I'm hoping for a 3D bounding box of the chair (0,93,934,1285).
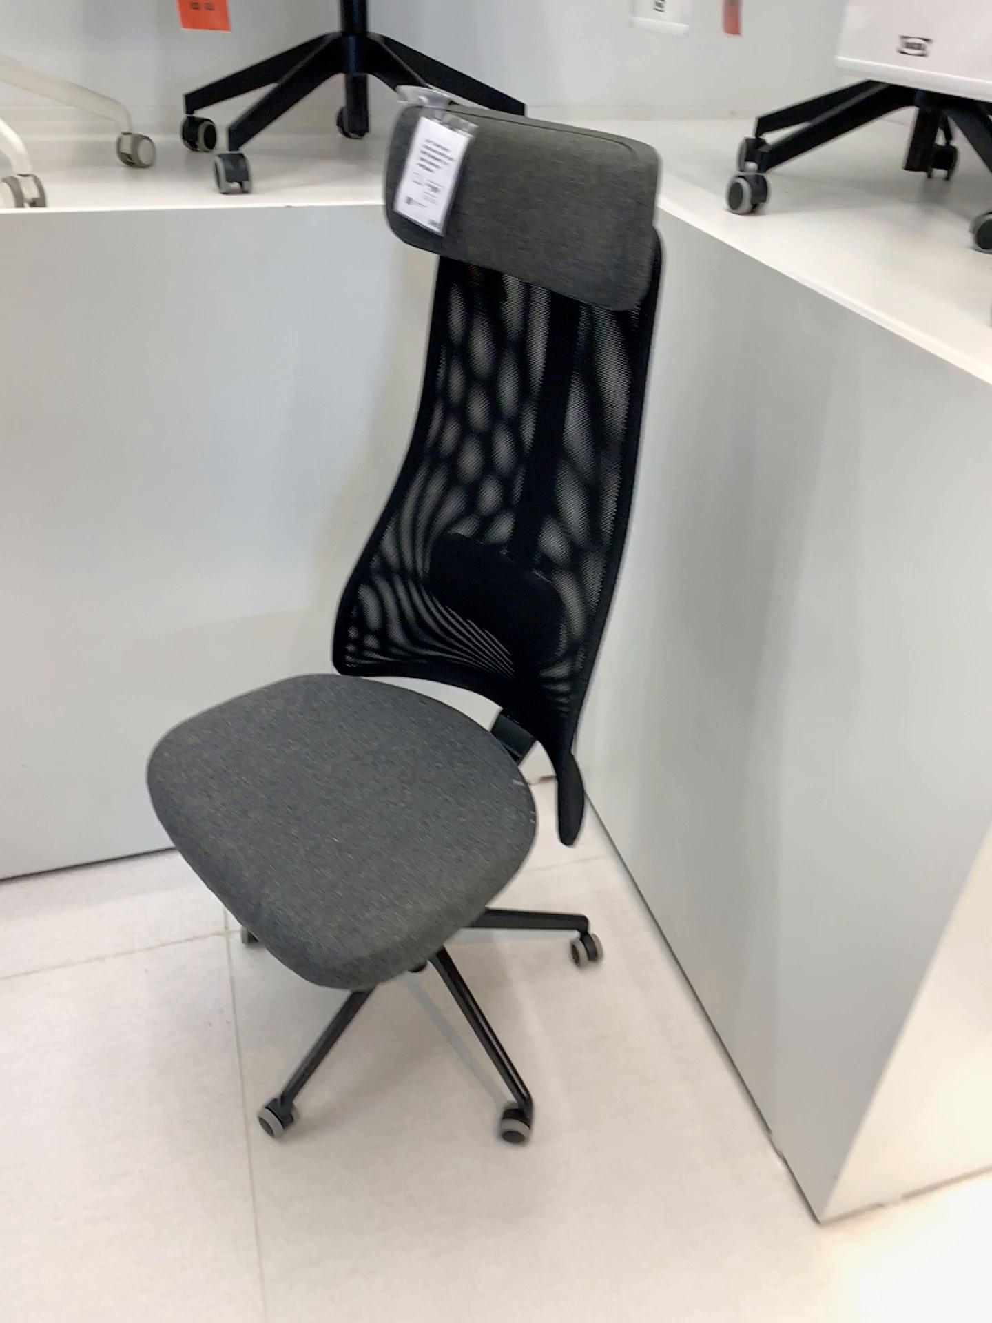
[{"bbox_3d":[-0.089,0.025,1.328,0.671,1.265,0.662,-22,42,-30],"label":"chair"}]
